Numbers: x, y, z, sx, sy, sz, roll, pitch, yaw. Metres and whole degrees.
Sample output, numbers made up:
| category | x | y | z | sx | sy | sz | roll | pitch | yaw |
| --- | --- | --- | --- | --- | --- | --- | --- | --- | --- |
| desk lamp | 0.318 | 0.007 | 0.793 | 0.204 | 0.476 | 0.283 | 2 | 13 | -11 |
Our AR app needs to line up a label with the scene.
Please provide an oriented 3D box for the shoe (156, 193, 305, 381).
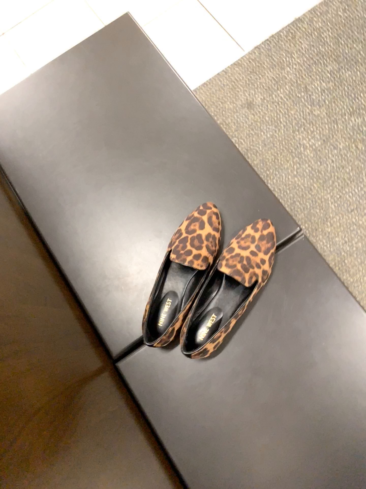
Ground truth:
| category | x | y | z | sx | sy | sz | roll | pitch | yaw |
| --- | --- | --- | --- | --- | --- | --- | --- | --- | --- |
| shoe | 0.072 | 0.062 | 0.558 | 0.090 | 0.090 | 0.247 | 31 | 83 | 12 |

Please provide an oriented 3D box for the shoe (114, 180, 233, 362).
| category | x | y | z | sx | sy | sz | roll | pitch | yaw |
| --- | --- | --- | --- | --- | --- | --- | --- | --- | --- |
| shoe | -0.007 | 0.041 | 0.582 | 0.090 | 0.090 | 0.247 | 19 | 80 | 10 |
